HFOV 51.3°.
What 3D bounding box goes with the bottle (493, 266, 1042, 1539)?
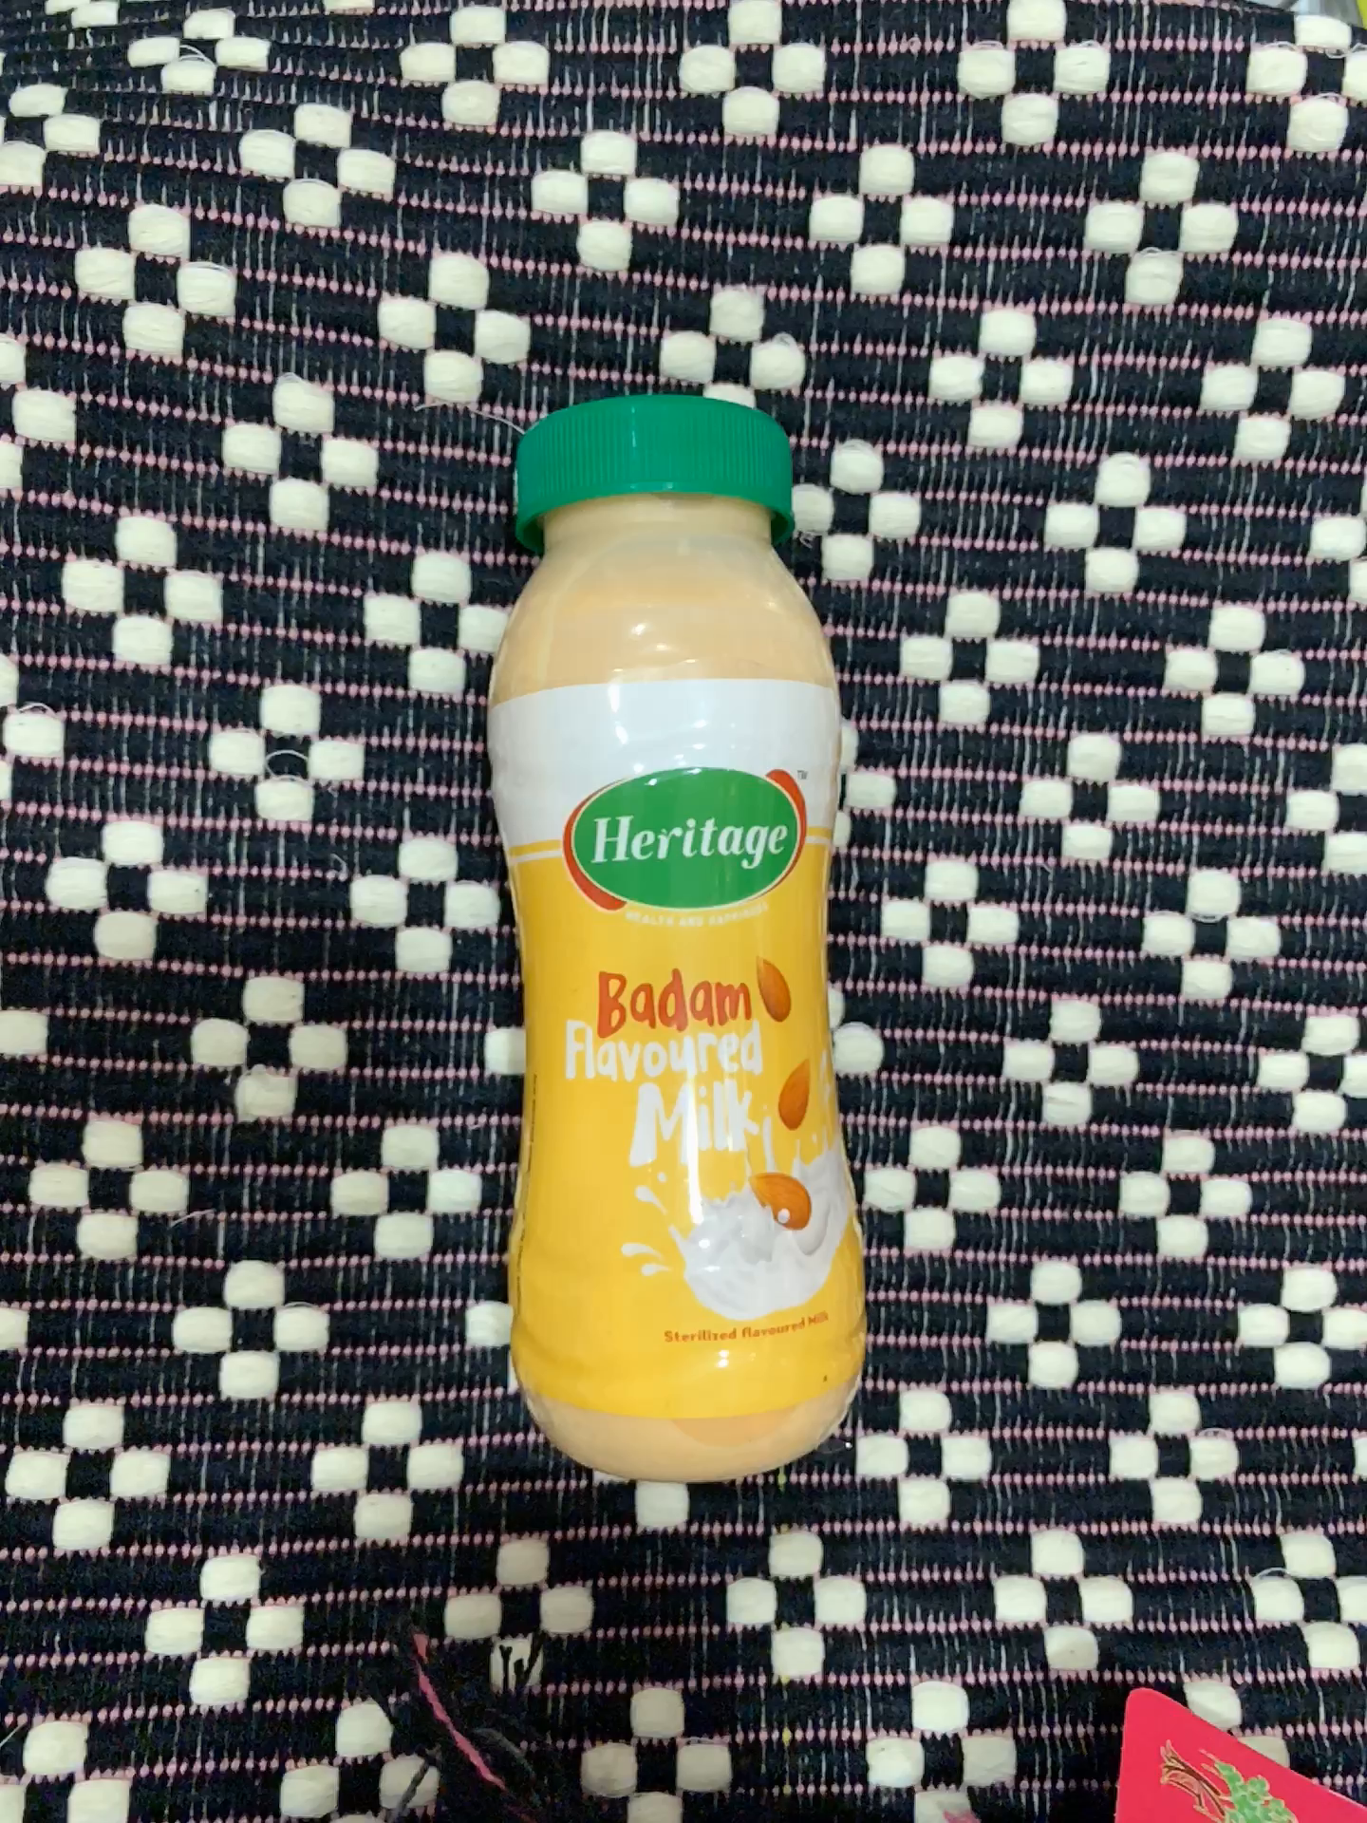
[{"bbox_3d":[0.008,-0.002,0.194,0.060,0.040,0.150,-1,86,-14],"label":"bottle"}]
